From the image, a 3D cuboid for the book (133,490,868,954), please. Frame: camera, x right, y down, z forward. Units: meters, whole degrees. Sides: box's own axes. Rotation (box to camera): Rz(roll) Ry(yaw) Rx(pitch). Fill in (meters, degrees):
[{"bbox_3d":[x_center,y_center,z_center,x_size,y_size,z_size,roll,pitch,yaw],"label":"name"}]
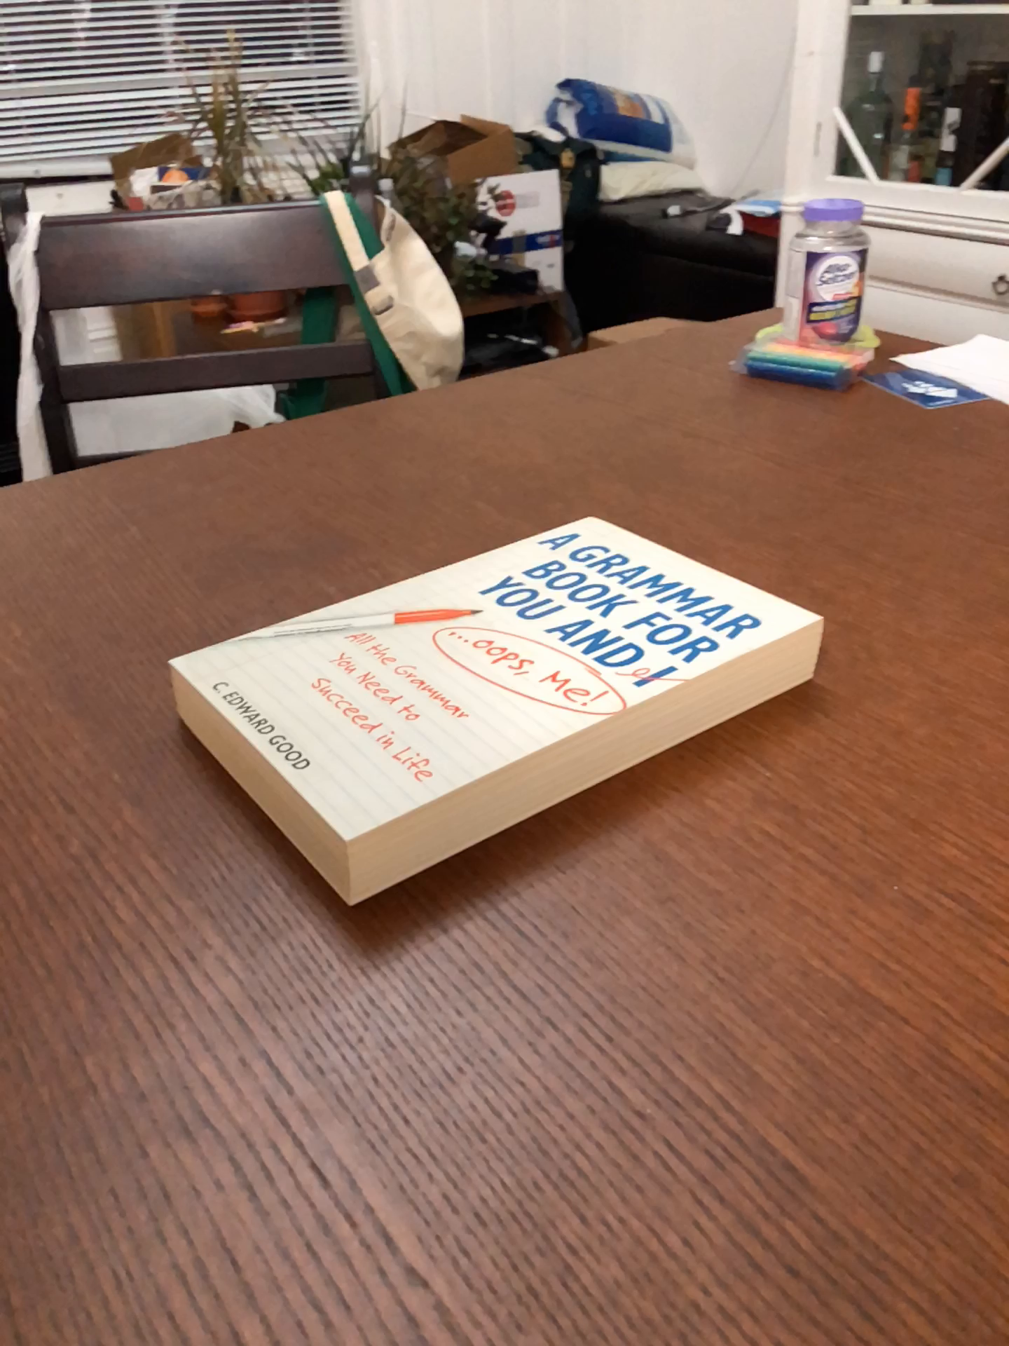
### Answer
[{"bbox_3d":[-0.002,-0.003,0.454,0.241,0.040,0.171,-22,35,-29],"label":"book"}]
